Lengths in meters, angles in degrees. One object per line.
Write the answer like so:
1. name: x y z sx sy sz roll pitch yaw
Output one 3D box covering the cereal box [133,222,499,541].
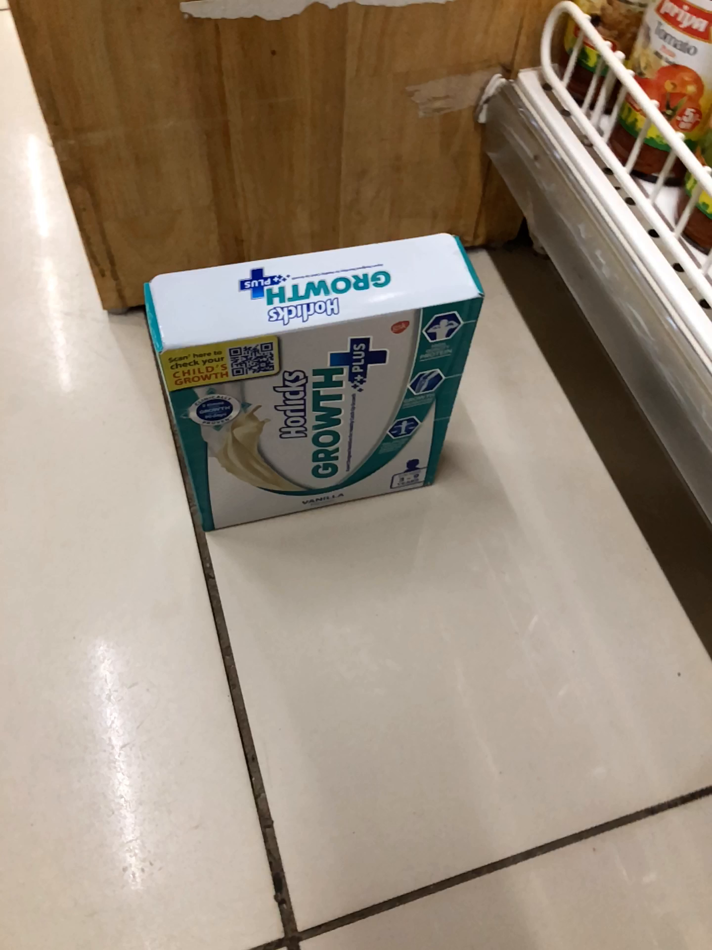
1. cereal box: -0.020 -0.040 0.407 0.150 0.159 0.050 -11 59 -10
